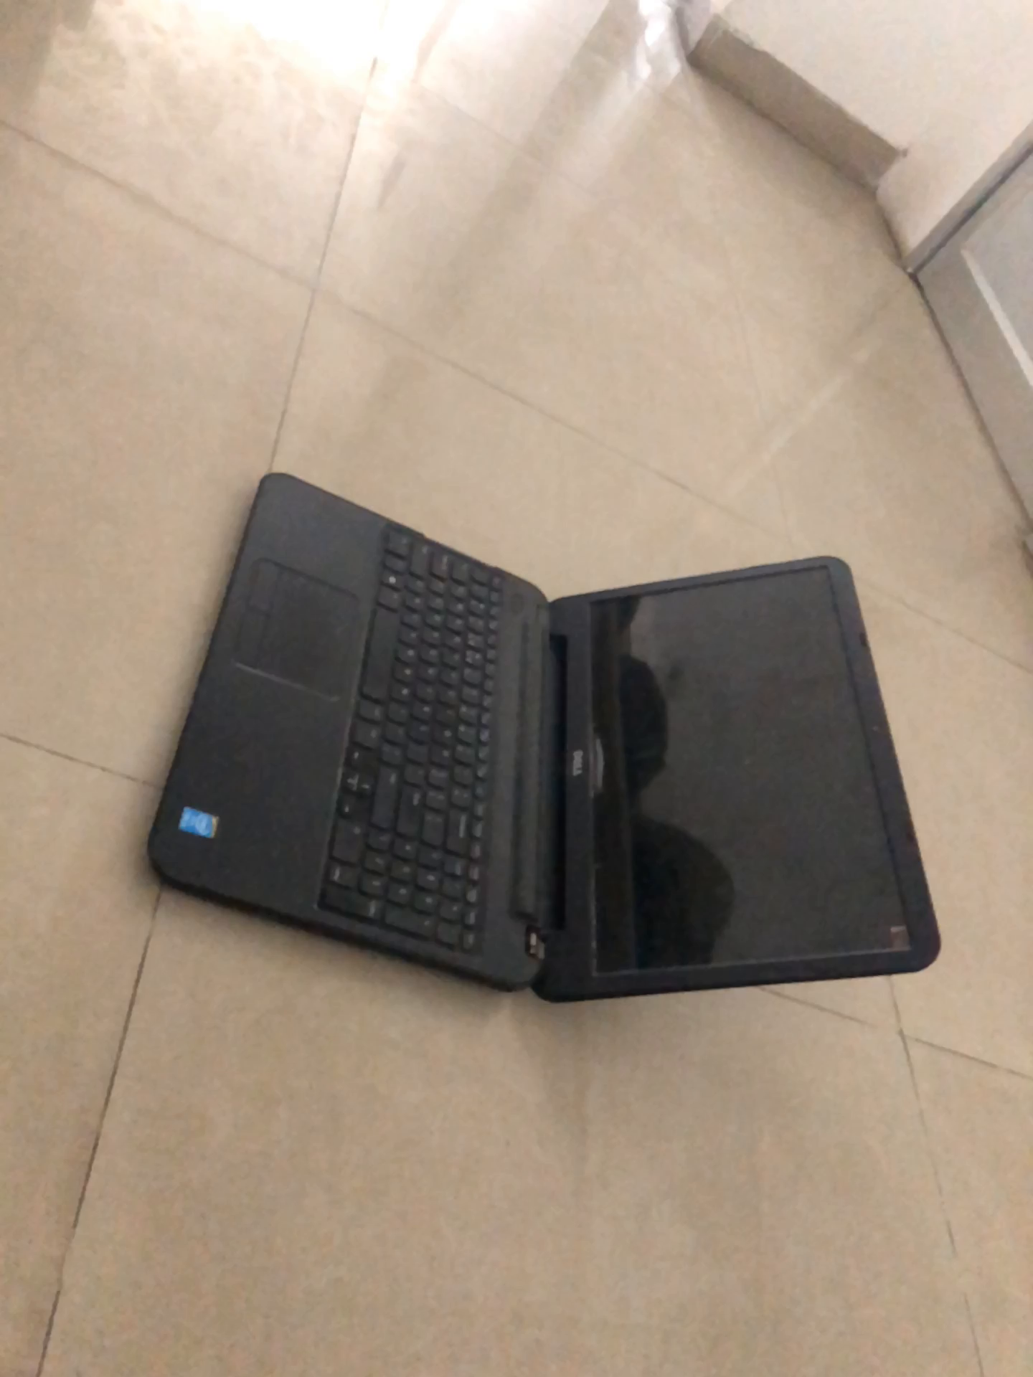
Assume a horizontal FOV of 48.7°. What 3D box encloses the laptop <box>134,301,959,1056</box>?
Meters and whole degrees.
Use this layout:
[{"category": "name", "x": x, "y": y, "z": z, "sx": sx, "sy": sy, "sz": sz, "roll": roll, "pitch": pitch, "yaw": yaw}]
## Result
[{"category": "laptop", "x": 0.032, "y": -0.005, "z": 0.757, "sx": 0.428, "sy": 0.163, "sz": 0.359, "roll": 22, "pitch": 44, "yaw": -20}]
